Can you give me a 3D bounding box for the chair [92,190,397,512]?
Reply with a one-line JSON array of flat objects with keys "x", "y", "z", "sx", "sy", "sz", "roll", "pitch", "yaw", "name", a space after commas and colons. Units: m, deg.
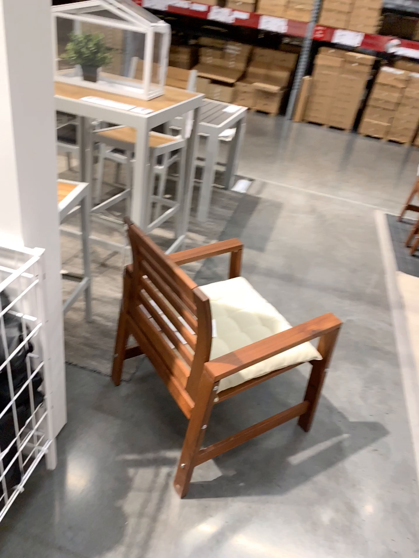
[{"x": 0.056, "y": 0.174, "z": 1.526, "sx": 0.722, "sy": 0.706, "sz": 0.652, "roll": -14, "pitch": 40, "yaw": -34, "name": "chair"}]
